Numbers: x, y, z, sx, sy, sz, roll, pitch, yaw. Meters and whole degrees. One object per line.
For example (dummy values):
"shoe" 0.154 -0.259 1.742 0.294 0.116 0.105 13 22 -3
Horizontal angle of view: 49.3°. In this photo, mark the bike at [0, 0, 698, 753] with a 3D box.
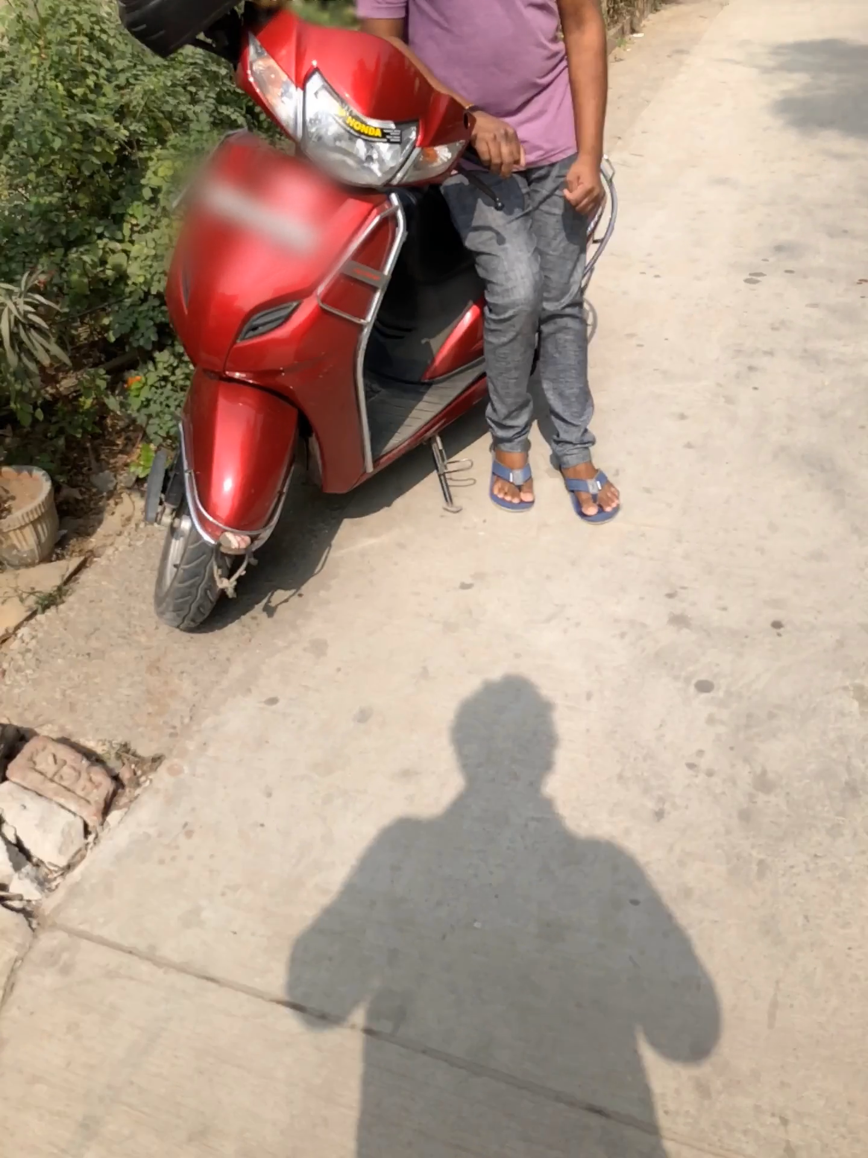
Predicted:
"bike" -0.033 -0.655 2.103 0.621 1.158 1.593 17 44 26
